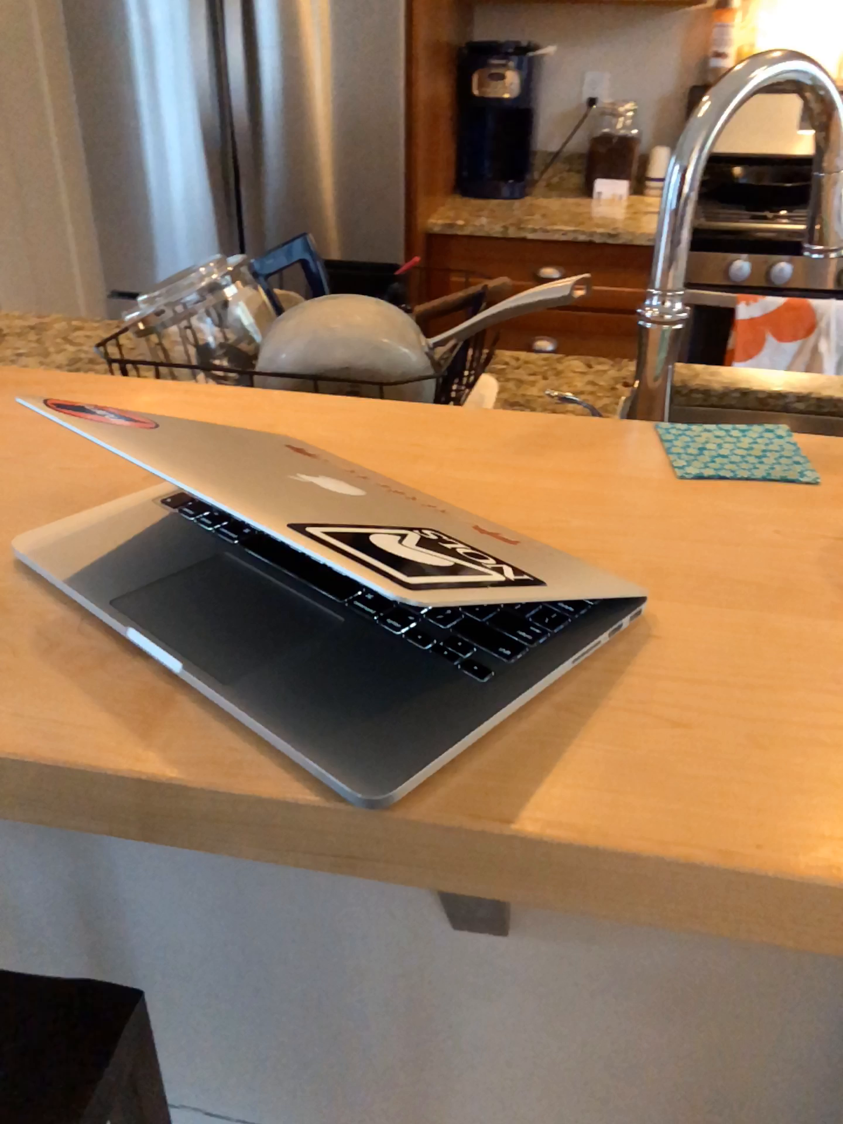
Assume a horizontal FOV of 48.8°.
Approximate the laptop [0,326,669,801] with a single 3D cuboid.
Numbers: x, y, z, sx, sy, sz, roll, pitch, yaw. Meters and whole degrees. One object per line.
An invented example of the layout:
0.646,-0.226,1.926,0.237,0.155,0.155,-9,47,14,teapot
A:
-0.057,-0.034,0.508,0.300,0.084,0.211,26,39,36,laptop
